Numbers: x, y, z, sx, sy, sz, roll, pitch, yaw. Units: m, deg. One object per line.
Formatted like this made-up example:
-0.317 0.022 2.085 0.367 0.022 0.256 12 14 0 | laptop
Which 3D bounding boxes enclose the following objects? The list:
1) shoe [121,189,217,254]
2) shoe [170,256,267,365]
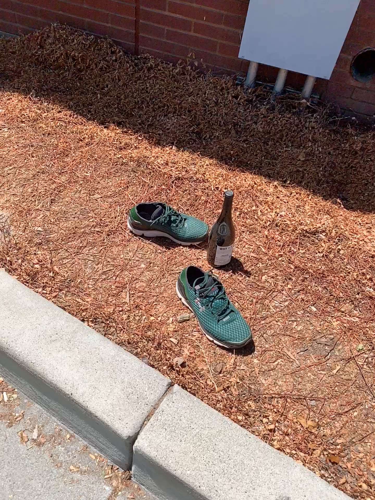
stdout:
-0.064 -0.099 1.312 0.300 0.099 0.121 14 48 4 | shoe
0.080 0.168 1.124 0.120 0.099 0.291 -23 55 -26 | shoe
